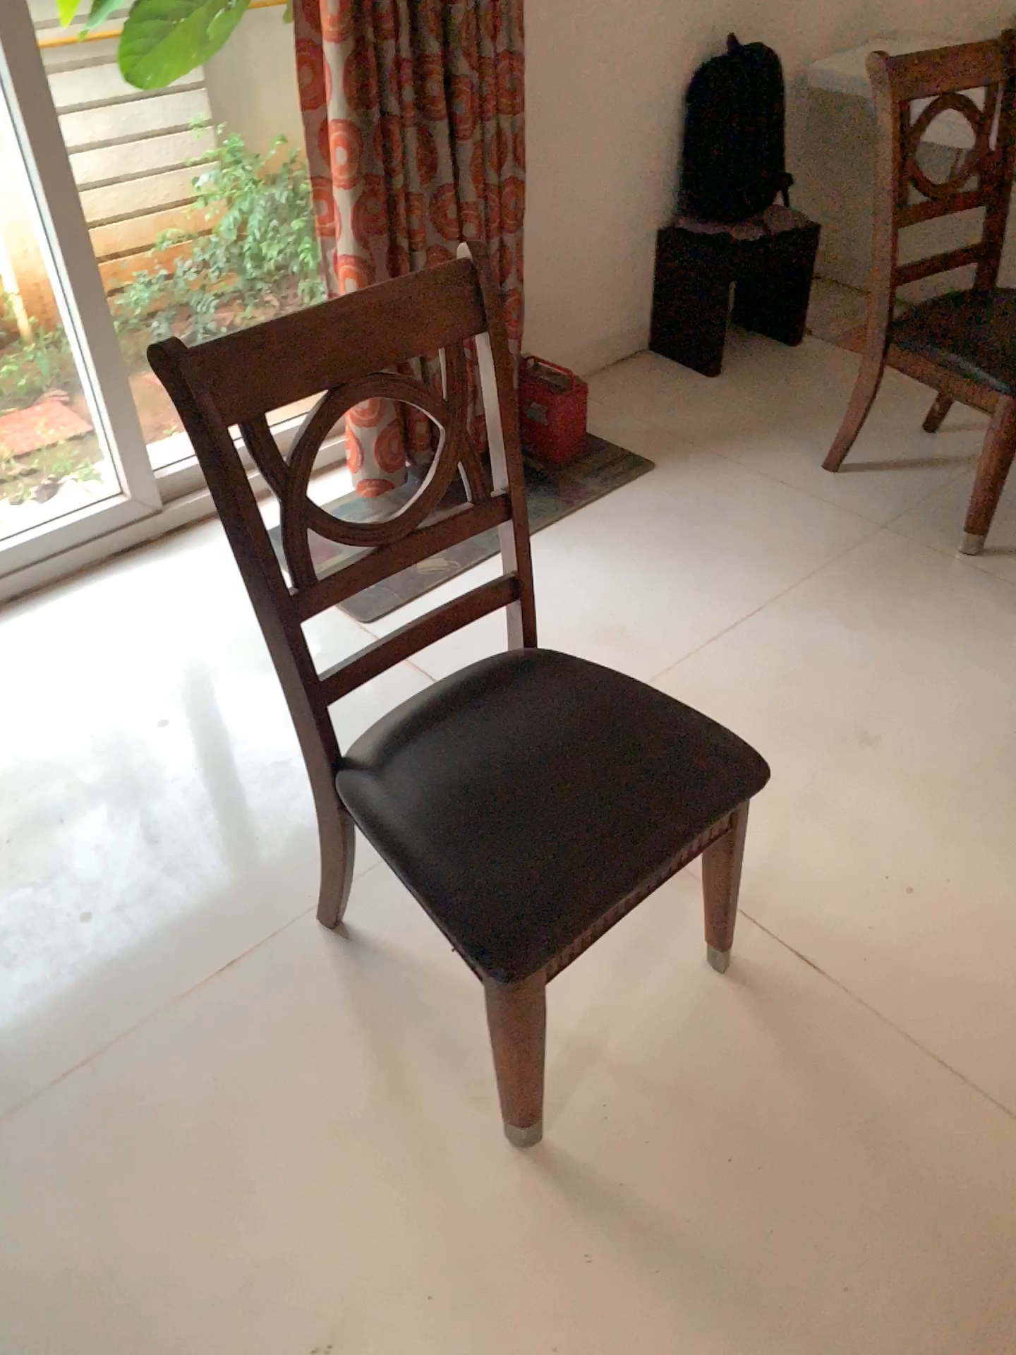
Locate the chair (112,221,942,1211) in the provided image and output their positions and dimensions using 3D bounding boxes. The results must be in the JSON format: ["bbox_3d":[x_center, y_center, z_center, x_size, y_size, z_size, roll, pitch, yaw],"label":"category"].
[{"bbox_3d":[0.013,0.059,1.398,0.571,1.026,0.642,-31,49,-29],"label":"chair"}]
